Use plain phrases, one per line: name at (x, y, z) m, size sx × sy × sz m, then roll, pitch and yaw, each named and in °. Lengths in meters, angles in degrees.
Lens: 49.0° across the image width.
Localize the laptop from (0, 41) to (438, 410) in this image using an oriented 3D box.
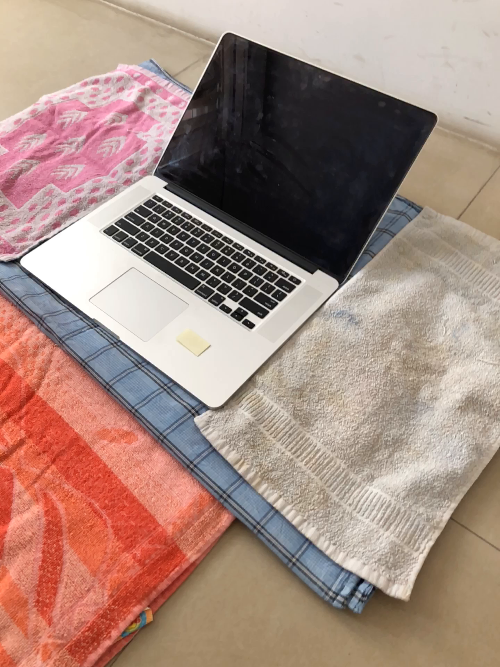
laptop at (-0.039, -0.172, 0.691) m, size 0.343 × 0.144 × 0.414 m, roll 32°, pitch 60°, yaw 24°
